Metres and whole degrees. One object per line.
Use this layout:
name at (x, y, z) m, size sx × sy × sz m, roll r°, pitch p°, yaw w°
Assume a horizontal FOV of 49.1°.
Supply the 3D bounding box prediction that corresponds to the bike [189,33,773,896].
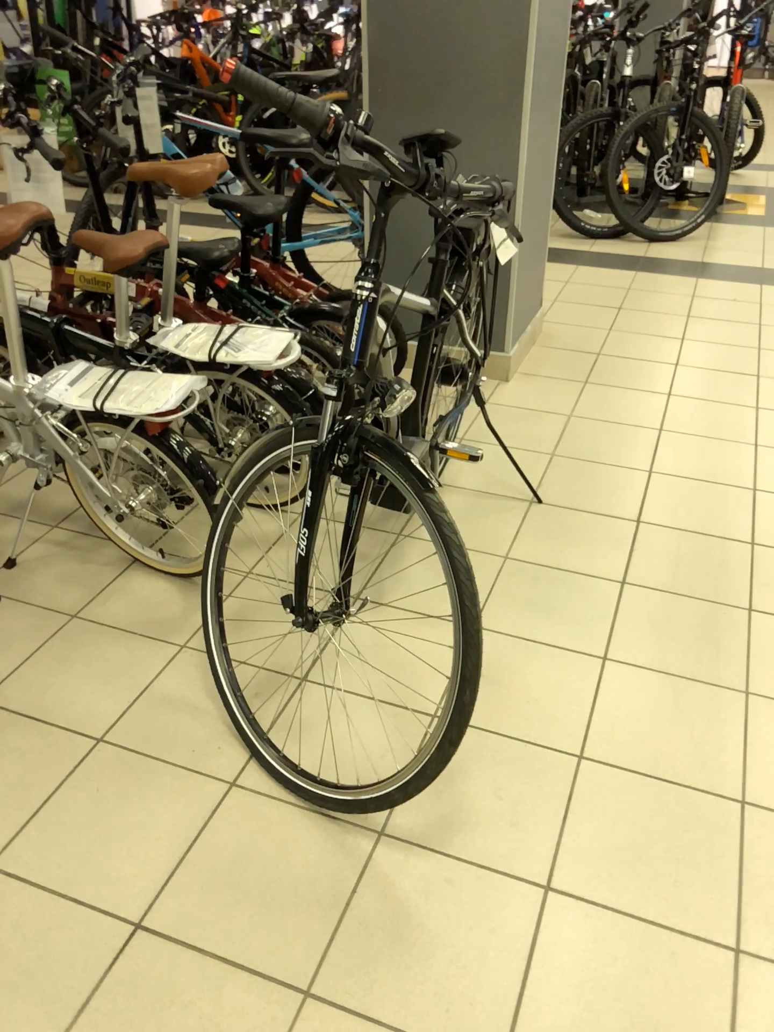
bike at (0.196, -0.326, 1.902) m, size 0.696 × 1.176 × 1.620 m, roll 4°, pitch 34°, yaw 6°
